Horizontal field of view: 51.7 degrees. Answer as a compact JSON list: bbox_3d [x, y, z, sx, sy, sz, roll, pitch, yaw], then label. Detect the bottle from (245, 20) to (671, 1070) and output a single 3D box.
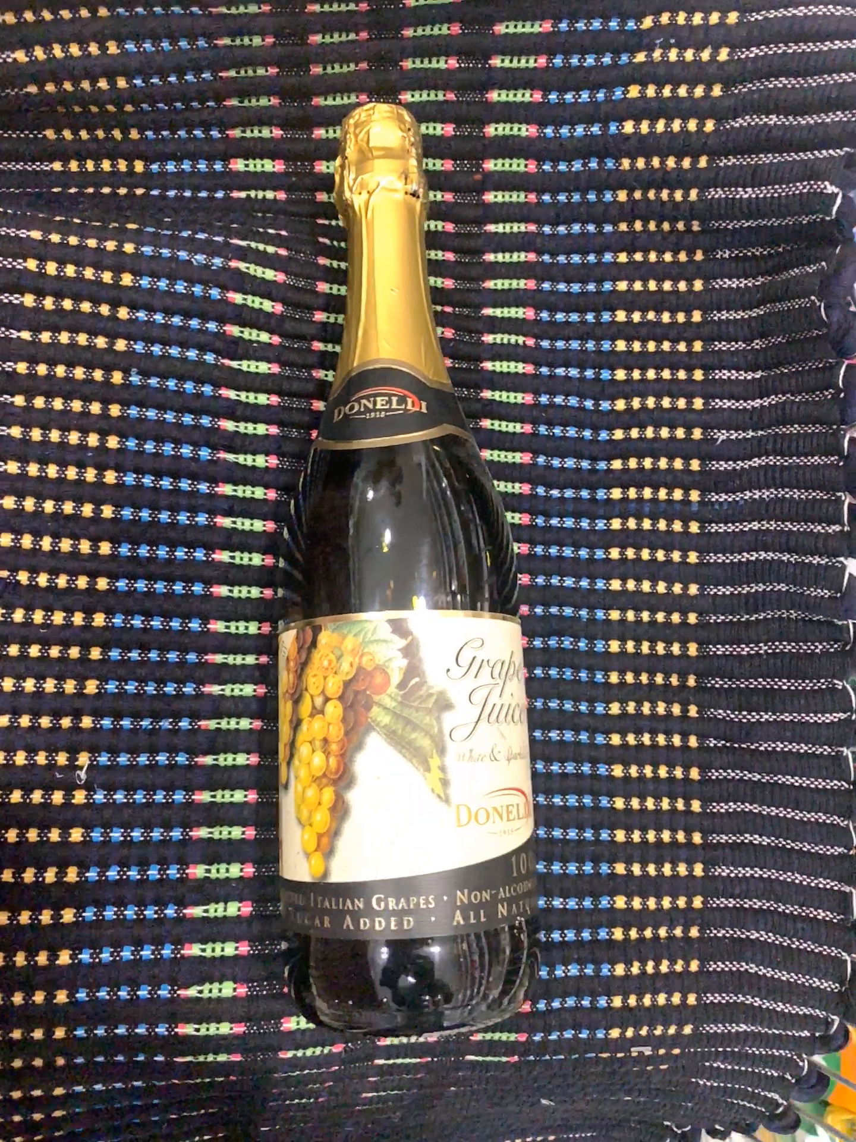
[{"bbox_3d":[-0.006,-0.020,0.290,0.090,0.080,0.300,1,72,-20],"label":"bottle"}]
